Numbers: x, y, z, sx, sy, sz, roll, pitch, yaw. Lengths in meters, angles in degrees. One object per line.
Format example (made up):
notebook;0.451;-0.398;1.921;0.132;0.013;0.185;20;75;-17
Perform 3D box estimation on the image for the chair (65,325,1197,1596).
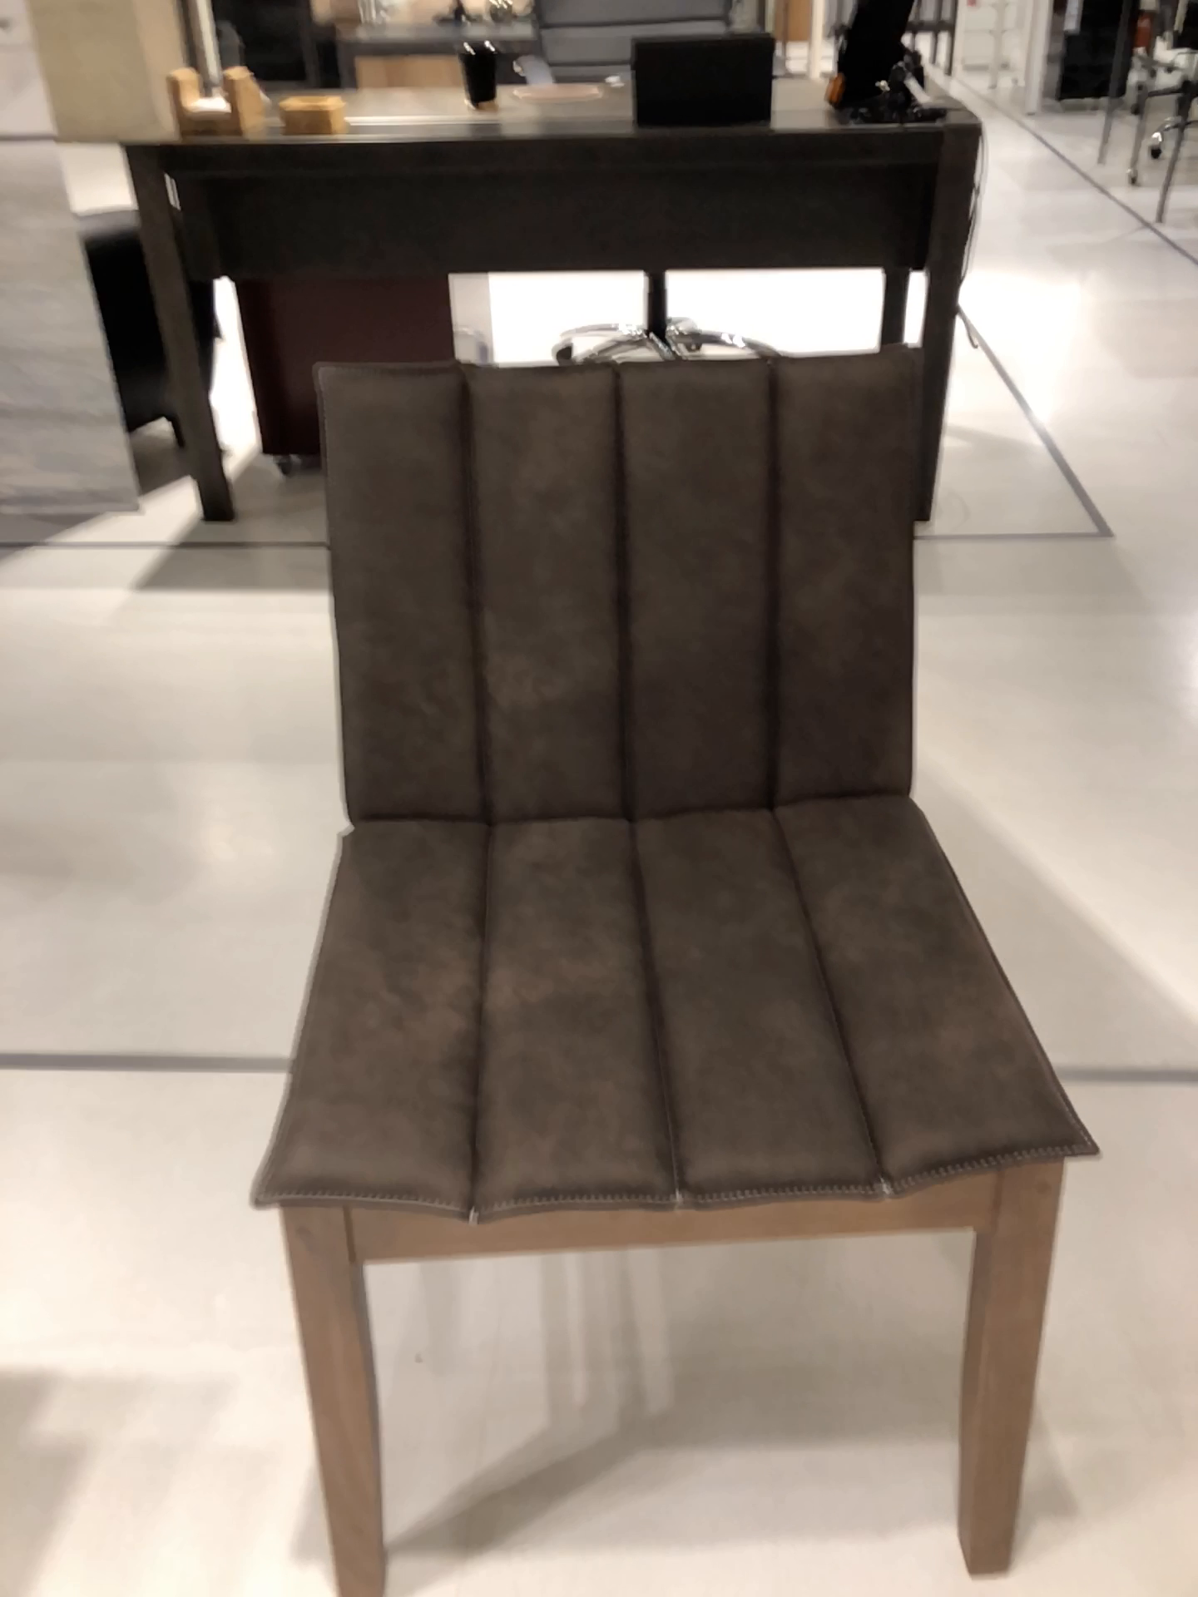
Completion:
chair;0.043;0.118;1.021;0.540;0.774;0.575;-3;34;-1
